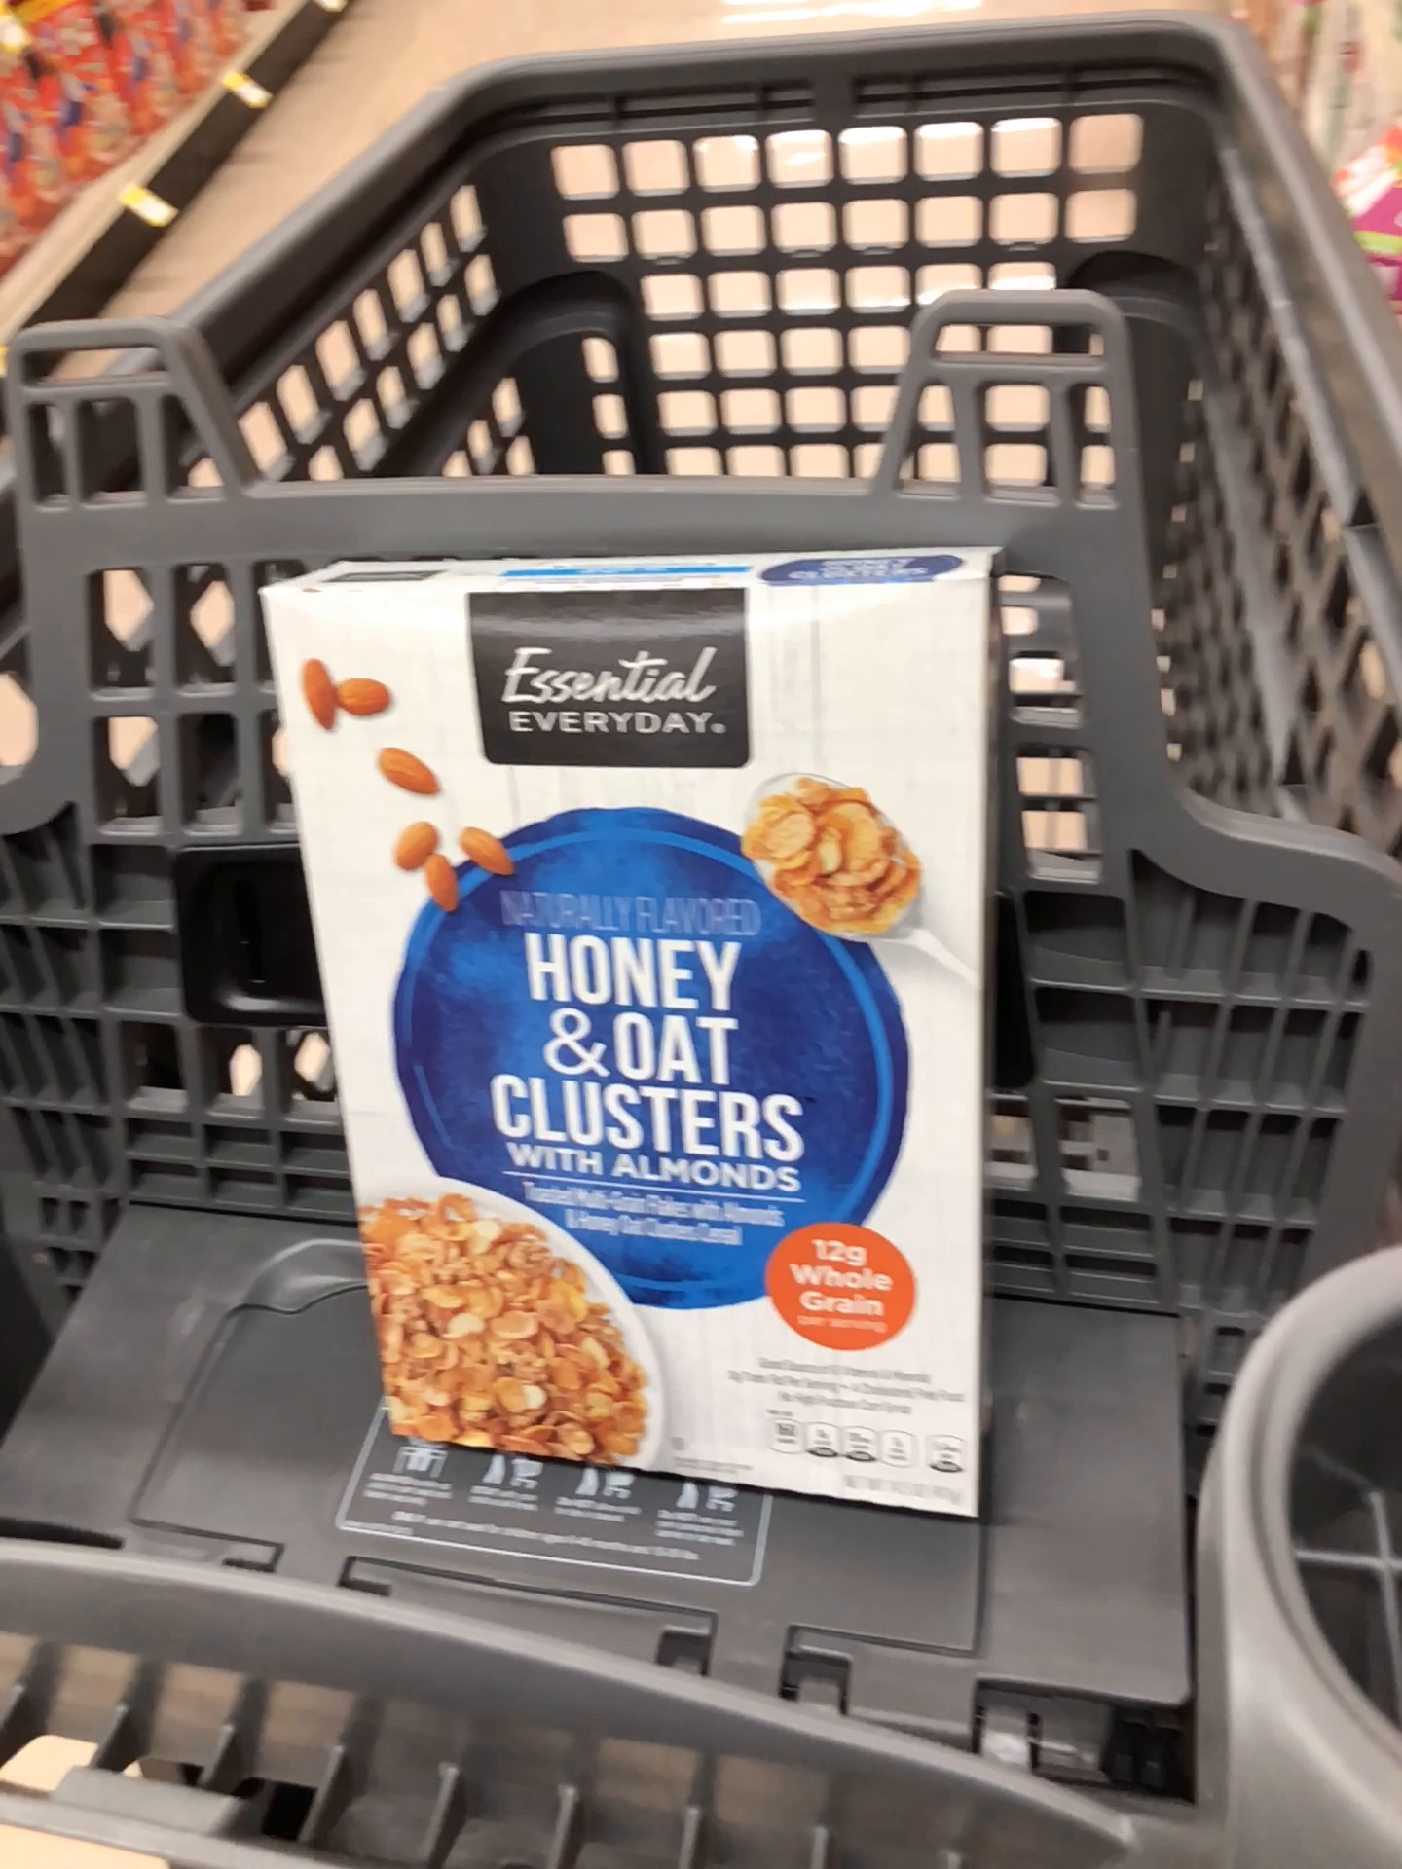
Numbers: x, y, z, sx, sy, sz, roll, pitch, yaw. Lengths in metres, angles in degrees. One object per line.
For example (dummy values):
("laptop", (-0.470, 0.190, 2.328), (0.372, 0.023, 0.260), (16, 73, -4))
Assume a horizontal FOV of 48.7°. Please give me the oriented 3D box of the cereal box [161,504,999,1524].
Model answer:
("cereal box", (-0.025, 0.024, 0.453), (0.210, 0.280, 0.060), (3, 22, 15))
